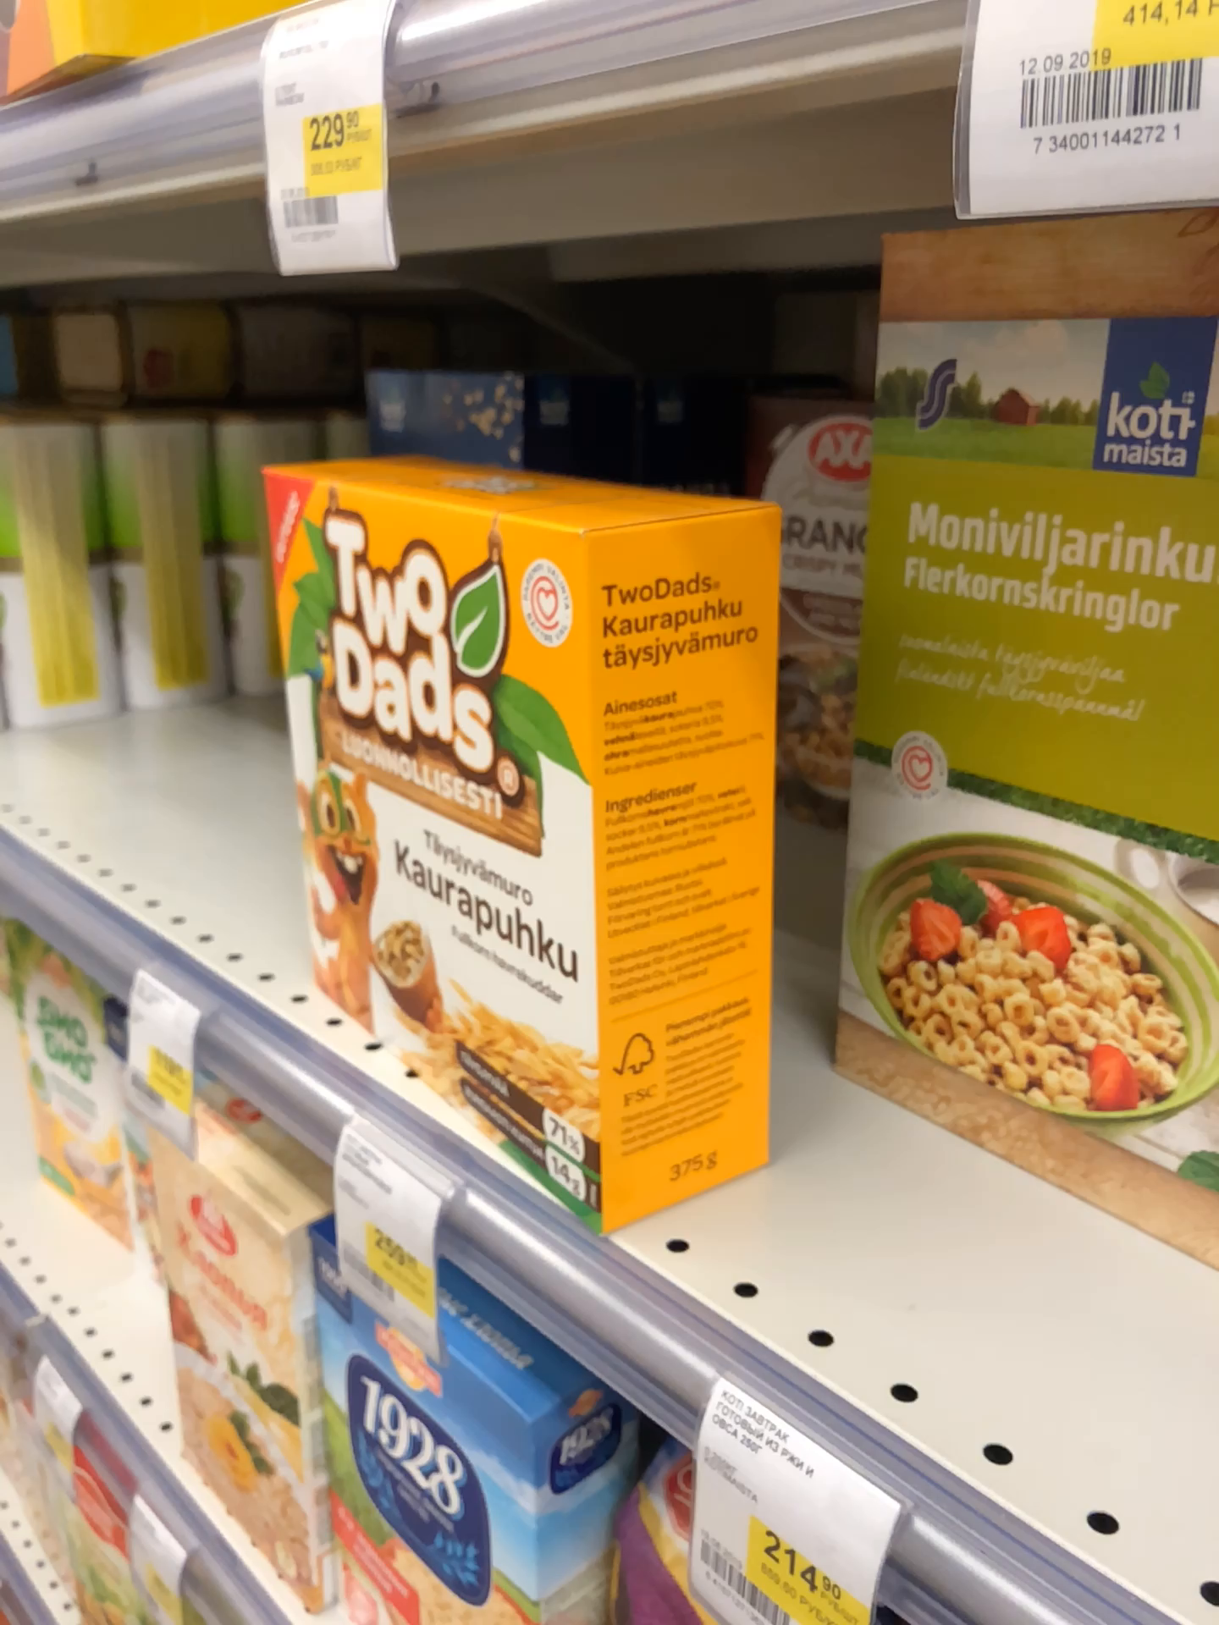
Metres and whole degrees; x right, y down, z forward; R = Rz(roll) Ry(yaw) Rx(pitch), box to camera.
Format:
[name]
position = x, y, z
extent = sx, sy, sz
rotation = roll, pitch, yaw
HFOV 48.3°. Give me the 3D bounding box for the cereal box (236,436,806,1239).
[cereal box]
position = -0.038, -0.013, 0.419
extent = 0.070, 0.189, 0.201
rotation = -12, 22, -33
